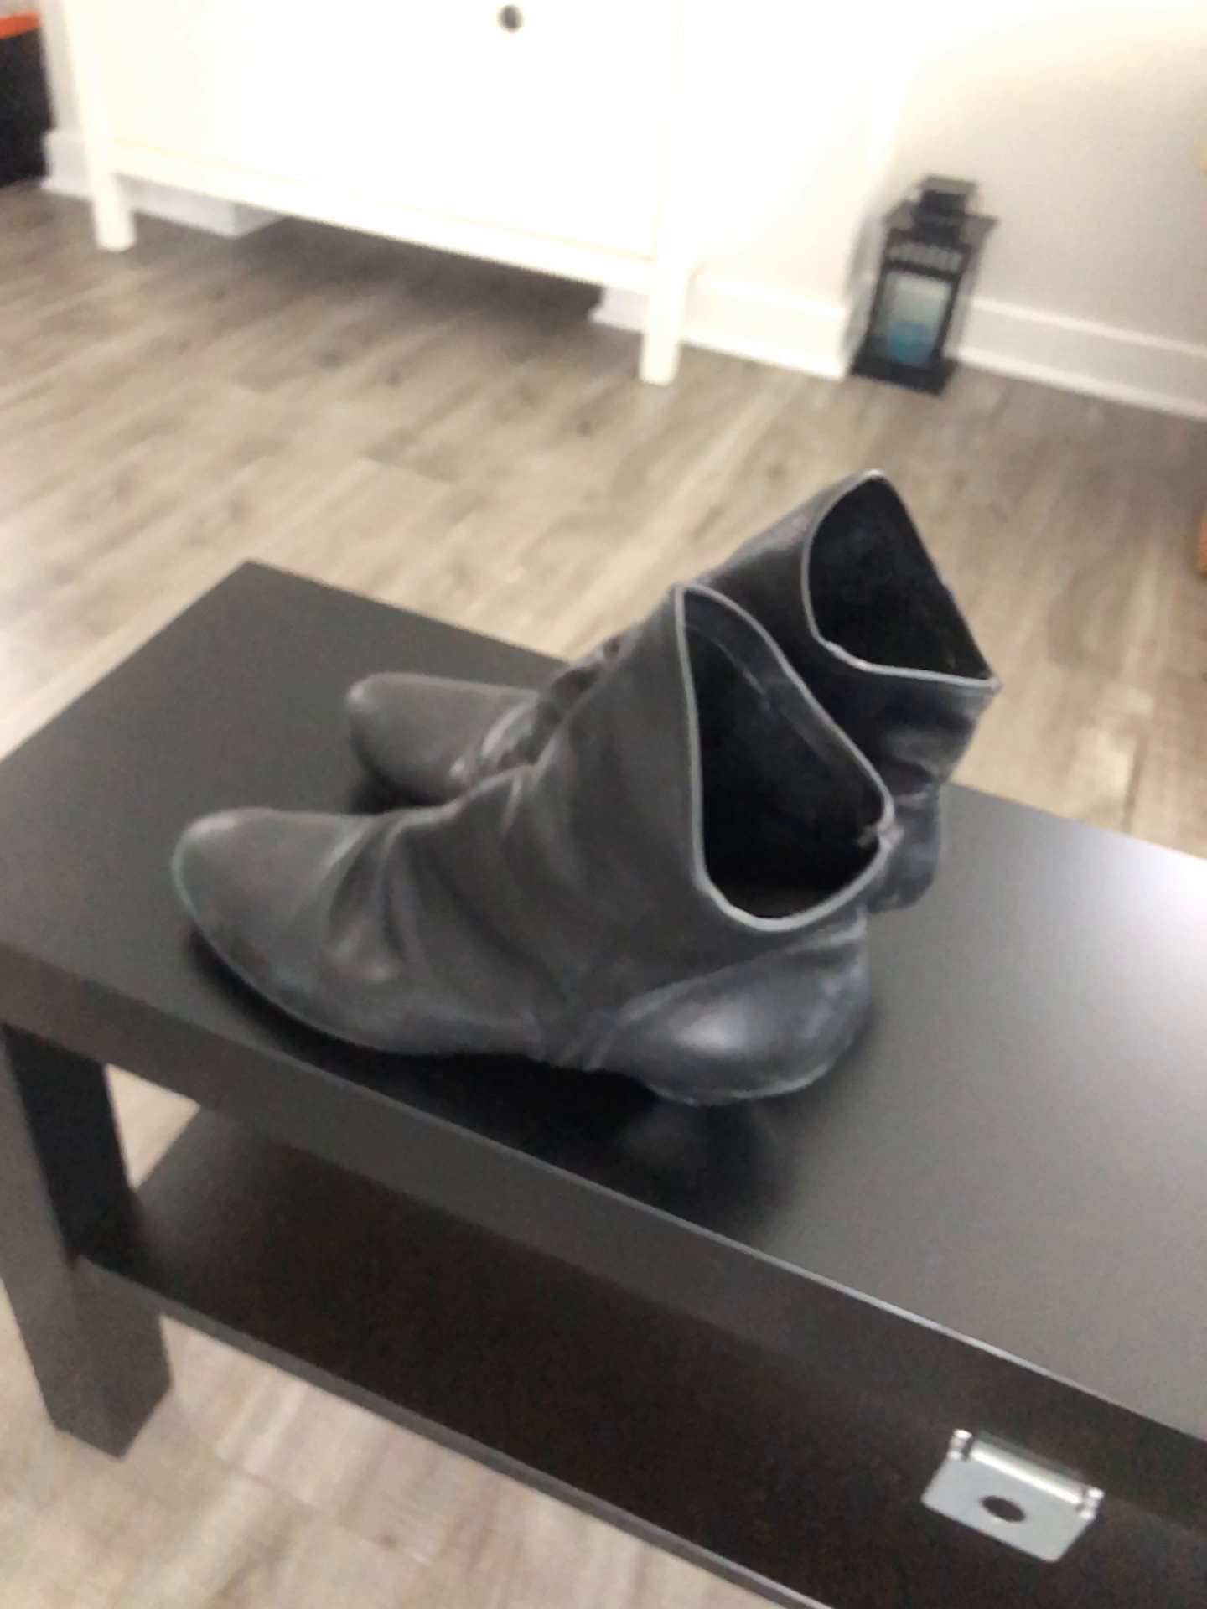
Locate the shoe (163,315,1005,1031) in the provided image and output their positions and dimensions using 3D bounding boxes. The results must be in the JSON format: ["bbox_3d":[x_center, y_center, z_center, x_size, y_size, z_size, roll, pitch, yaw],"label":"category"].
[{"bbox_3d":[-0.010,-0.049,0.485,0.250,0.169,0.101,17,42,12],"label":"shoe"}]

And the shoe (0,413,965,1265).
[{"bbox_3d":[-0.047,0.008,0.416,0.260,0.169,0.101,17,42,12],"label":"shoe"}]
